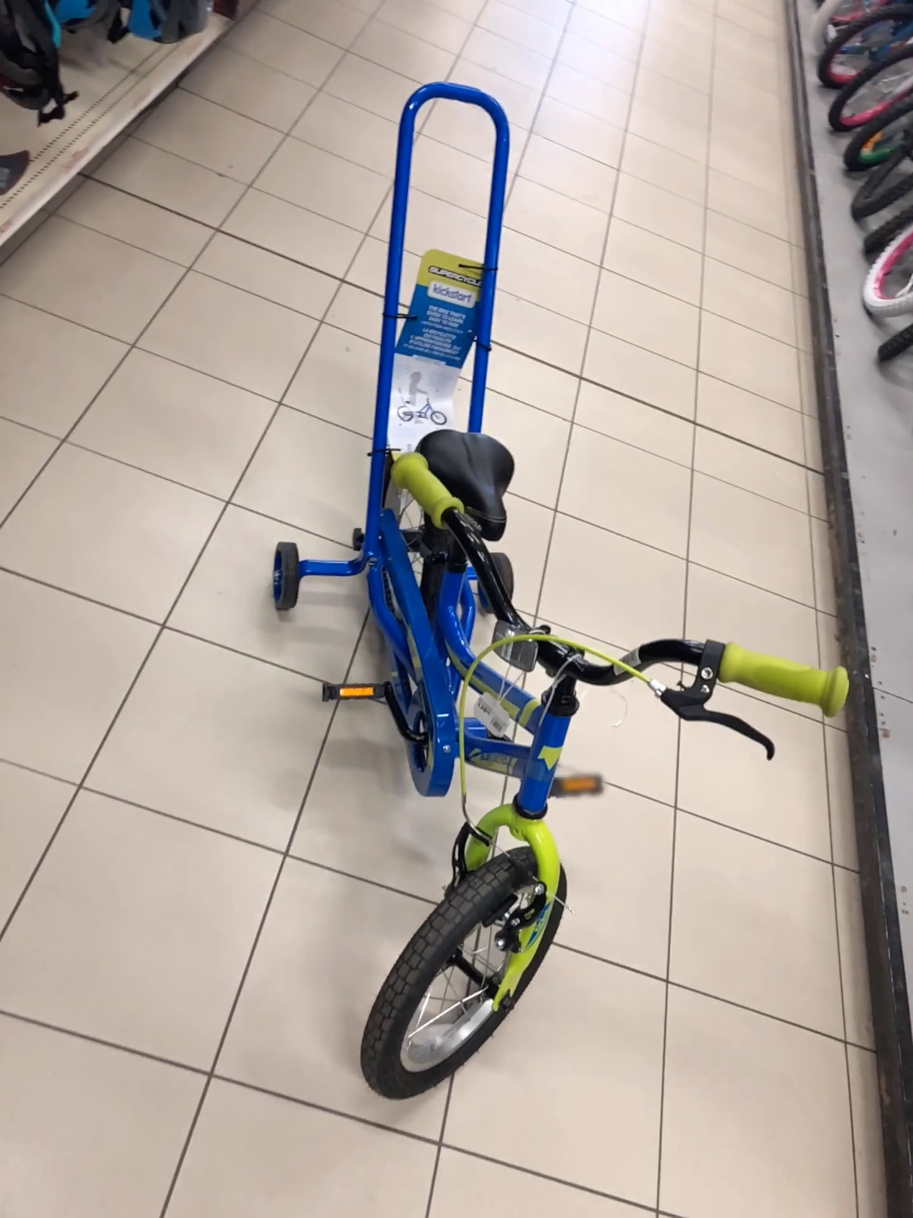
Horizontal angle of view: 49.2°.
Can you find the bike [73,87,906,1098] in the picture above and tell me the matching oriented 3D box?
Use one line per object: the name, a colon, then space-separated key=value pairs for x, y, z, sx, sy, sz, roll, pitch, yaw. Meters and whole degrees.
bike: x=-0.052 y=-0.011 z=1.237 sx=0.538 sy=0.763 sz=0.957 roll=11 pitch=48 yaw=-15
